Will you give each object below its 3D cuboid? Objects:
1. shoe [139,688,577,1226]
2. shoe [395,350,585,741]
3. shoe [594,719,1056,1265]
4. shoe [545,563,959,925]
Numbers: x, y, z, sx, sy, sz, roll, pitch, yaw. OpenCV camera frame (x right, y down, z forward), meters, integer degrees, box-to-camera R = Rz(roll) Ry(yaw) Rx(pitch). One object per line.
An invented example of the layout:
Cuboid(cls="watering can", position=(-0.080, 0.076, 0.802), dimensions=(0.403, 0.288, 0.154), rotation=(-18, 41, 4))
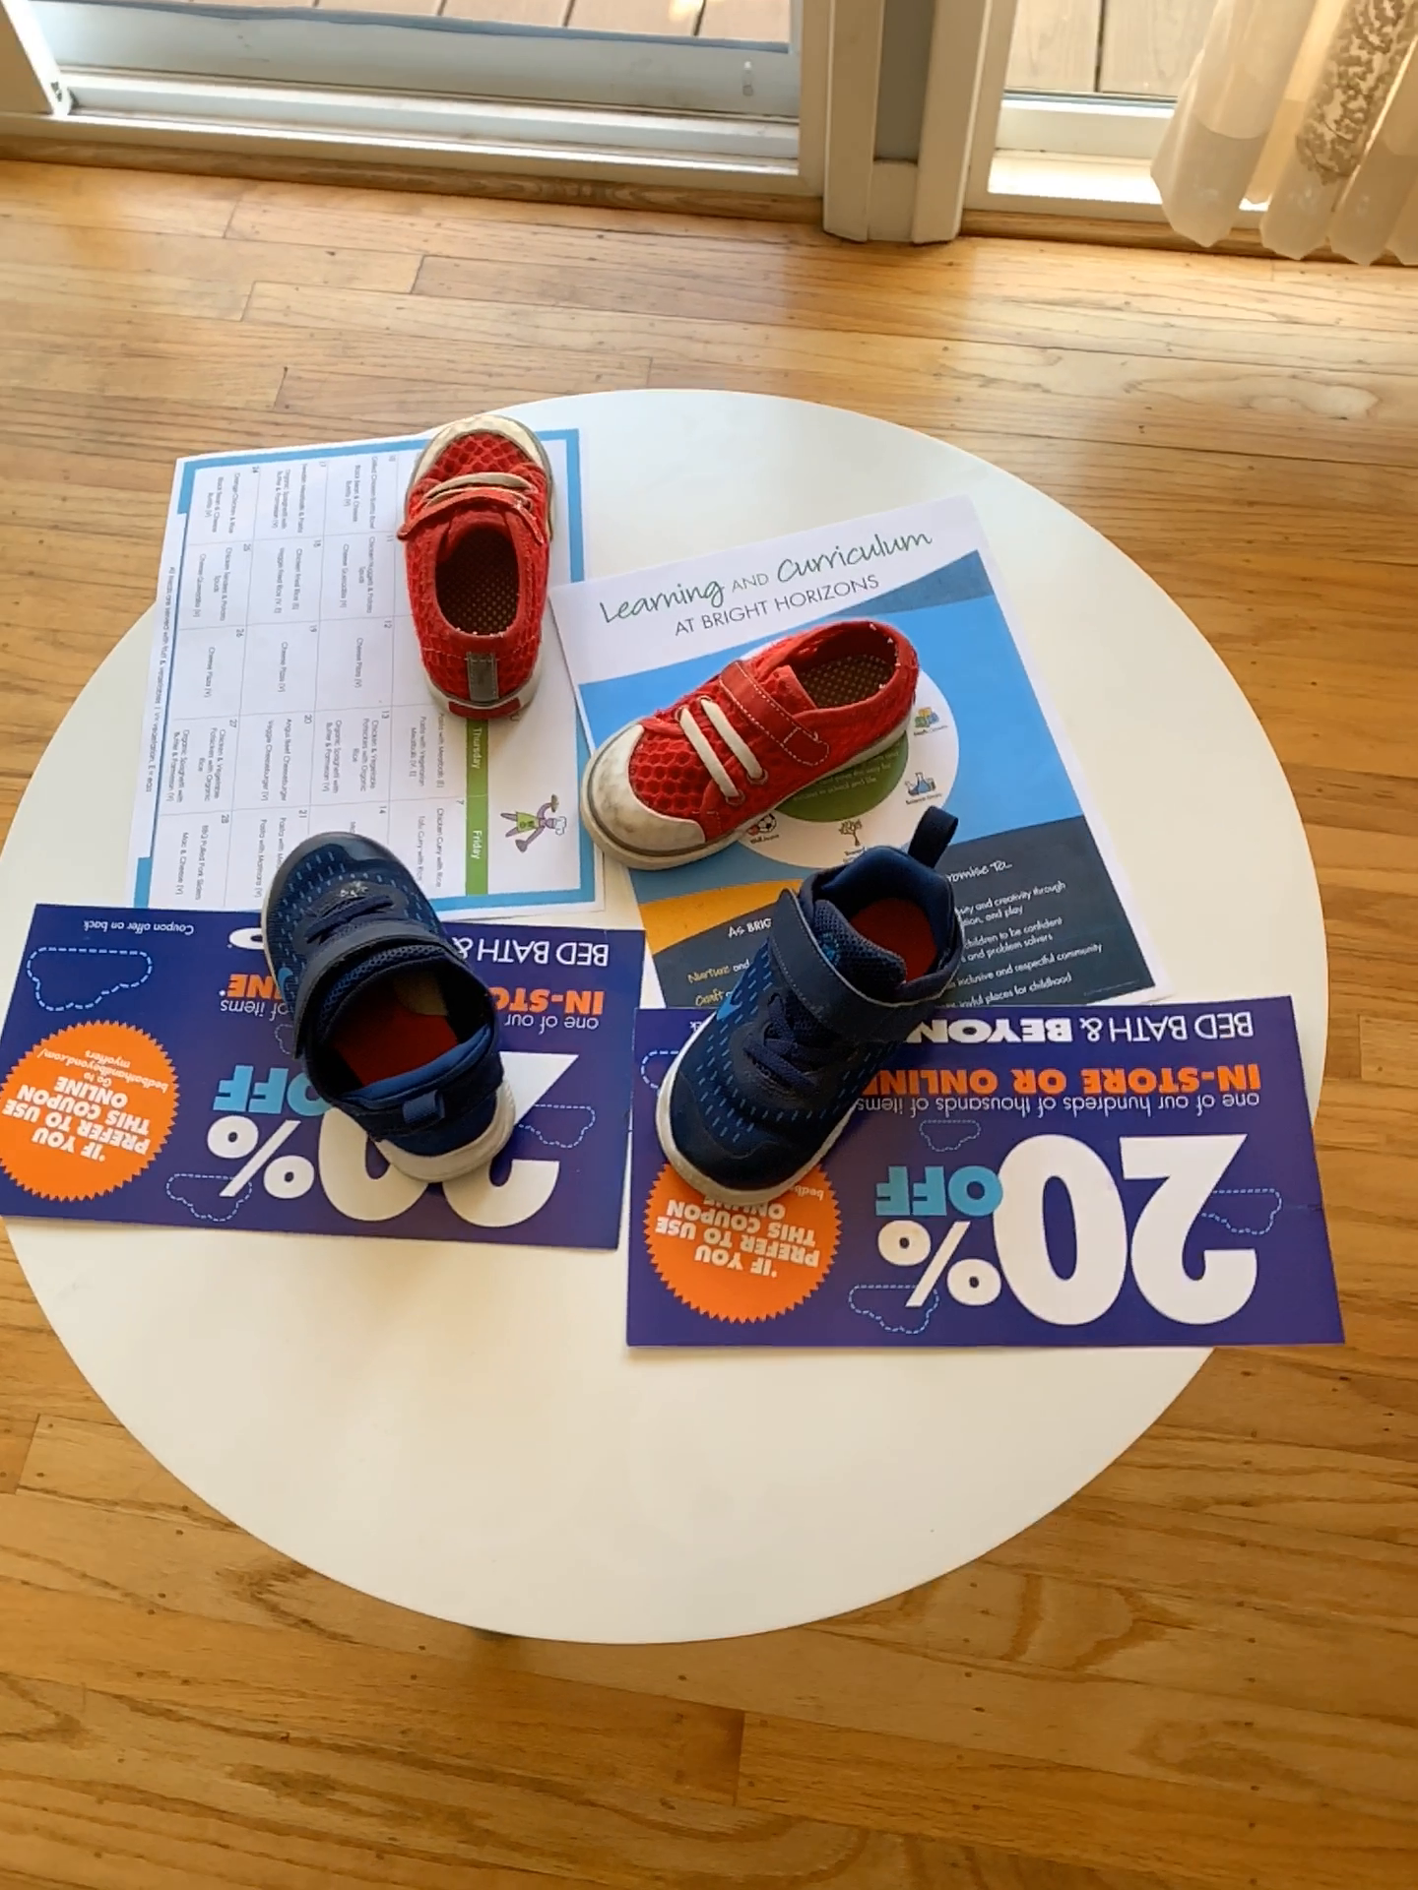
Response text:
Cuboid(cls="shoe", position=(-0.124, 0.006, 0.527), dimensions=(0.080, 0.100, 0.150), rotation=(-28, 68, -10))
Cuboid(cls="shoe", position=(-0.101, -0.185, 0.671), dimensions=(0.070, 0.070, 0.160), rotation=(-6, 66, 0))
Cuboid(cls="shoe", position=(0.043, 0.019, 0.535), dimensions=(0.080, 0.100, 0.160), rotation=(33, 72, 15))
Cuboid(cls="shoe", position=(0.019, -0.085, 0.618), dimensions=(0.160, 0.070, 0.060), rotation=(-30, 68, -10))
